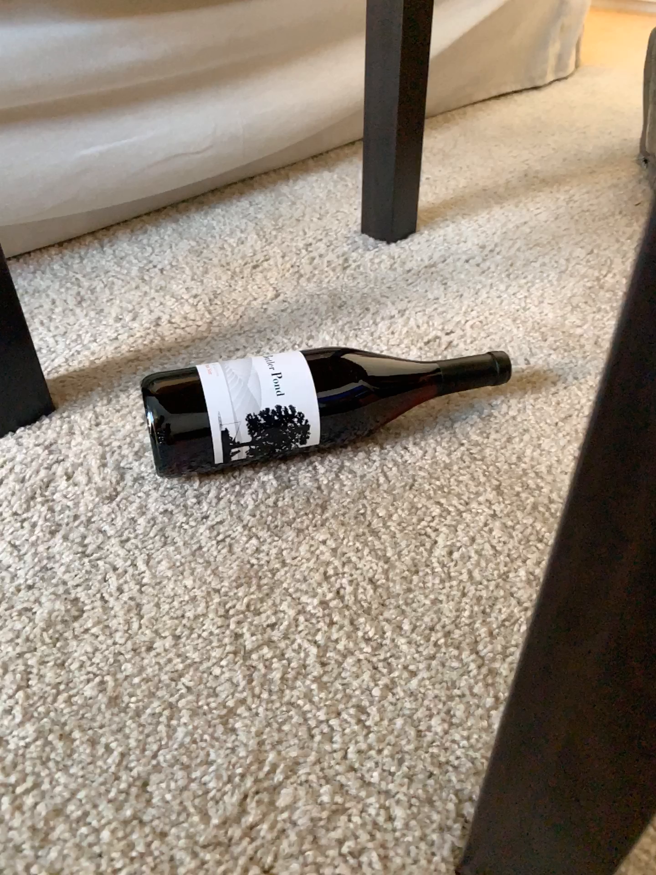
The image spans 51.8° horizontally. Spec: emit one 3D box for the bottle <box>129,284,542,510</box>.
[{"bbox_3d":[0.006,-0.033,0.509,0.280,0.080,0.080,-13,60,-11],"label":"bottle"}]
